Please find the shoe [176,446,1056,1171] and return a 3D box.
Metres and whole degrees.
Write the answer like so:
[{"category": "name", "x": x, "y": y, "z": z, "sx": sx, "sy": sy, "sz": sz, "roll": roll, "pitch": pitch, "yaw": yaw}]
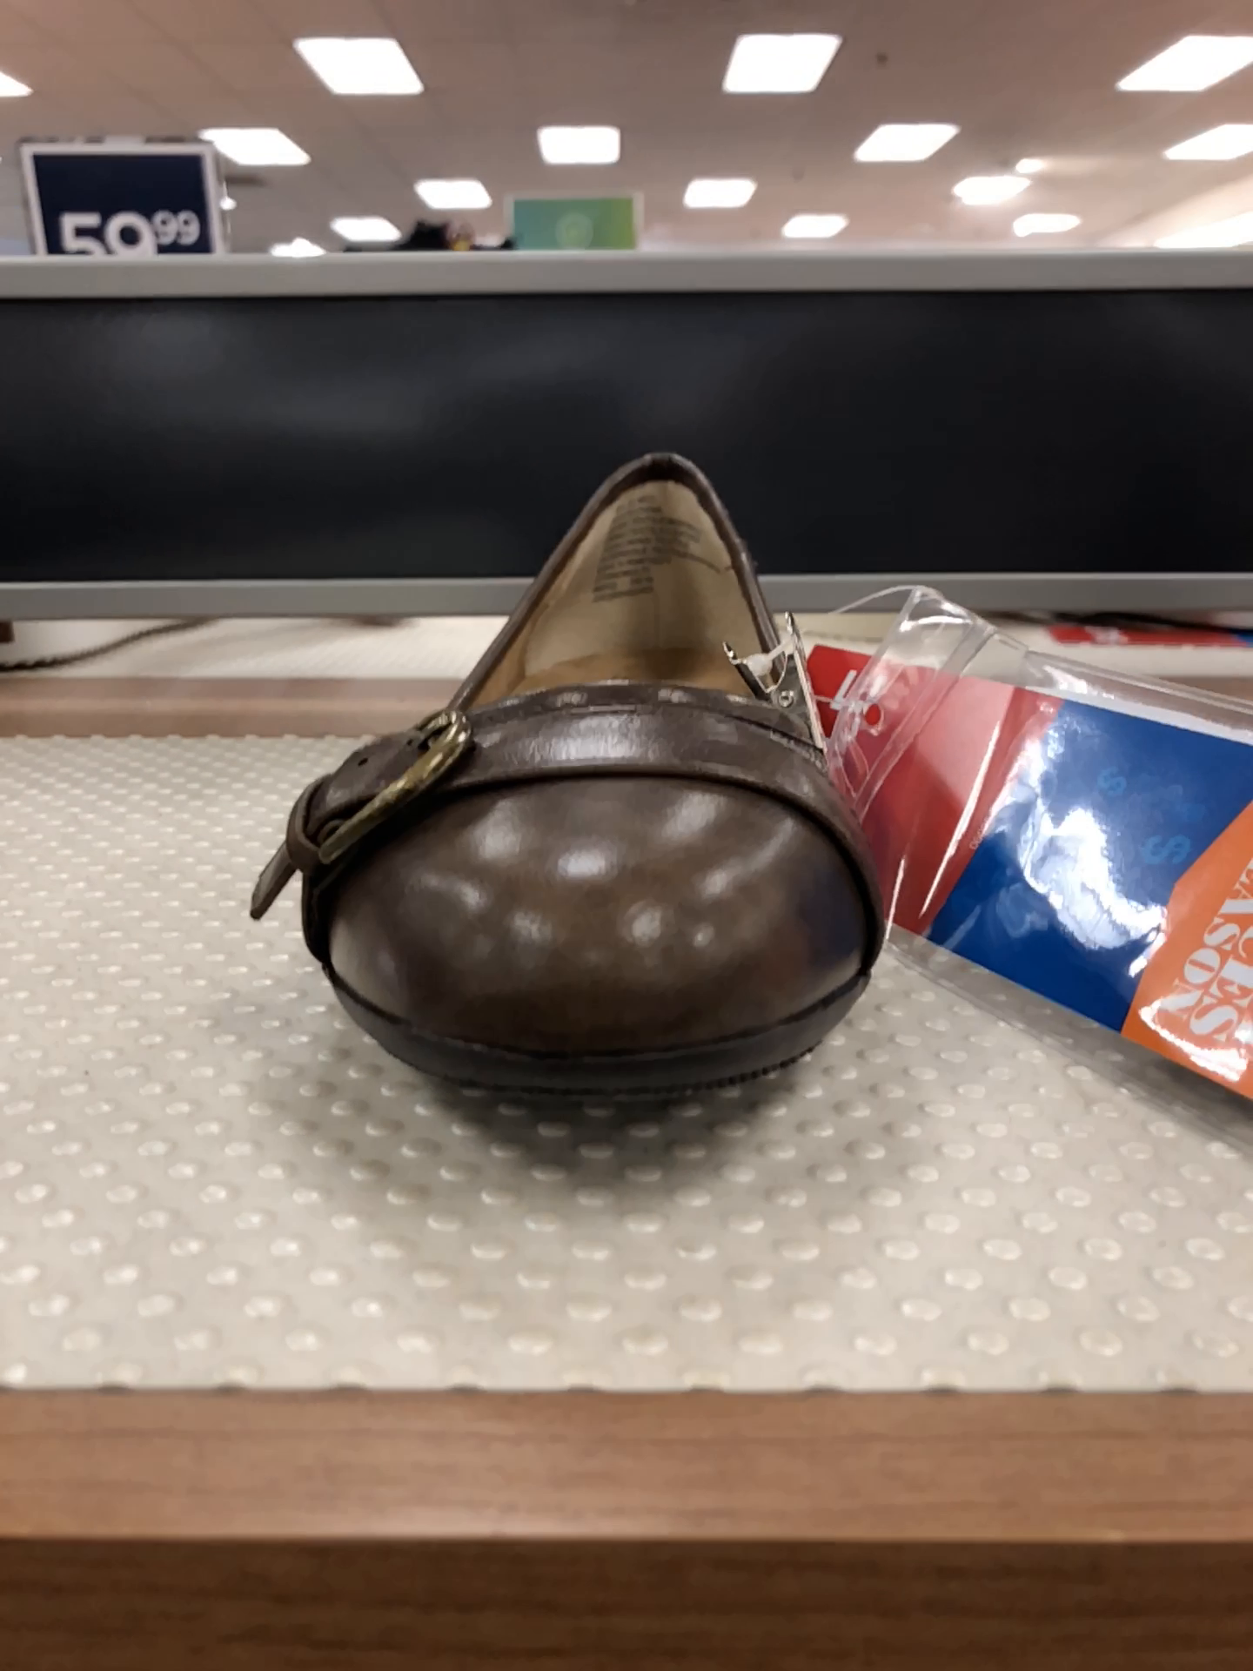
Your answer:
[{"category": "shoe", "x": 0.005, "y": -0.038, "z": 0.292, "sx": 0.092, "sy": 0.080, "sz": 0.279, "roll": 1, "pitch": 16, "yaw": 3}]
